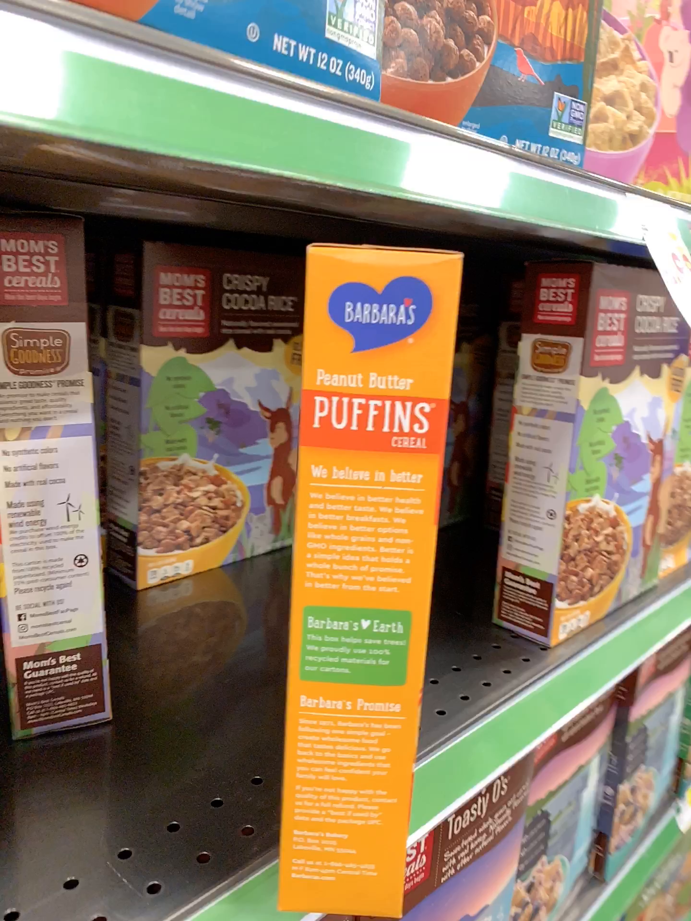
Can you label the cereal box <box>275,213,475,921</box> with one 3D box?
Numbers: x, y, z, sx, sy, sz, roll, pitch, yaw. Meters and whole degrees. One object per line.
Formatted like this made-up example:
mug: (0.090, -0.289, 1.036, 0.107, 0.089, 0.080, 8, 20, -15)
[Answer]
cereal box: (0.003, 0.030, 0.373, 0.060, 0.279, 0.221, 2, 13, -3)
